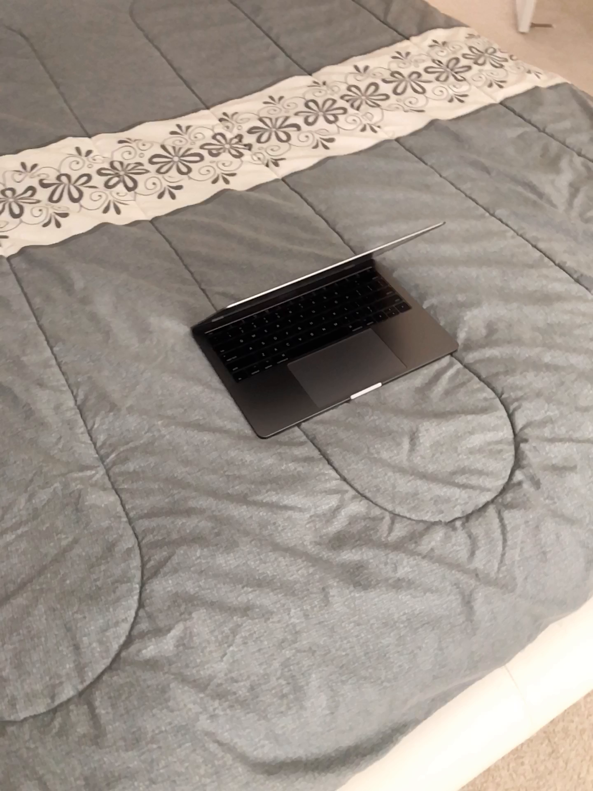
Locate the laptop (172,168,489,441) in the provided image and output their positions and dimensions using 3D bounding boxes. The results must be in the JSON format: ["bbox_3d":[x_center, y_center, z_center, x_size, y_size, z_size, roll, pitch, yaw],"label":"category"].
[{"bbox_3d":[0.034,-0.113,0.760,0.278,0.140,0.195,-25,55,-17],"label":"laptop"}]
